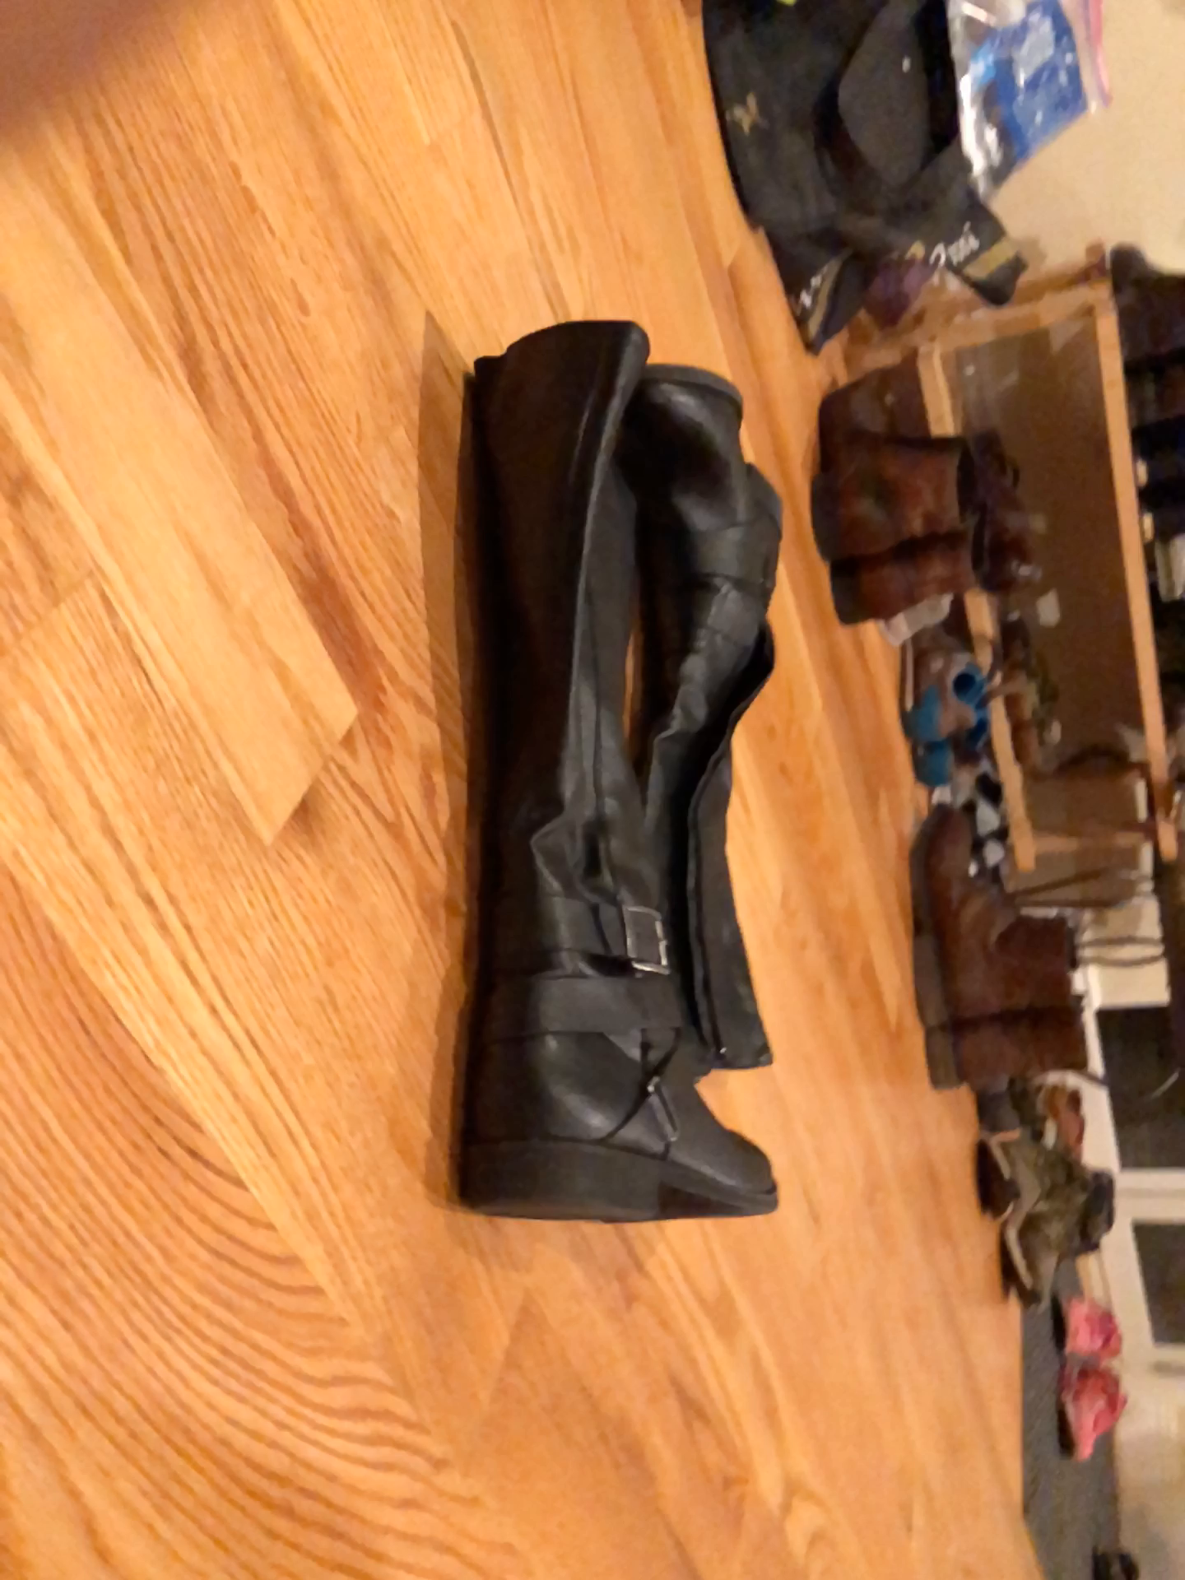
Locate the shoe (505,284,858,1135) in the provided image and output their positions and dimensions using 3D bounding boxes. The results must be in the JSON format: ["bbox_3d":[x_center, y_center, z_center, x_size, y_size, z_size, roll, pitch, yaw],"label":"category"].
[{"bbox_3d":[0.061,-0.028,0.720,0.251,0.094,0.394,41,46,-58],"label":"shoe"}]

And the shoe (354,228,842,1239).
[{"bbox_3d":[0.029,0.000,0.636,0.291,0.104,0.404,39,49,-59],"label":"shoe"}]
